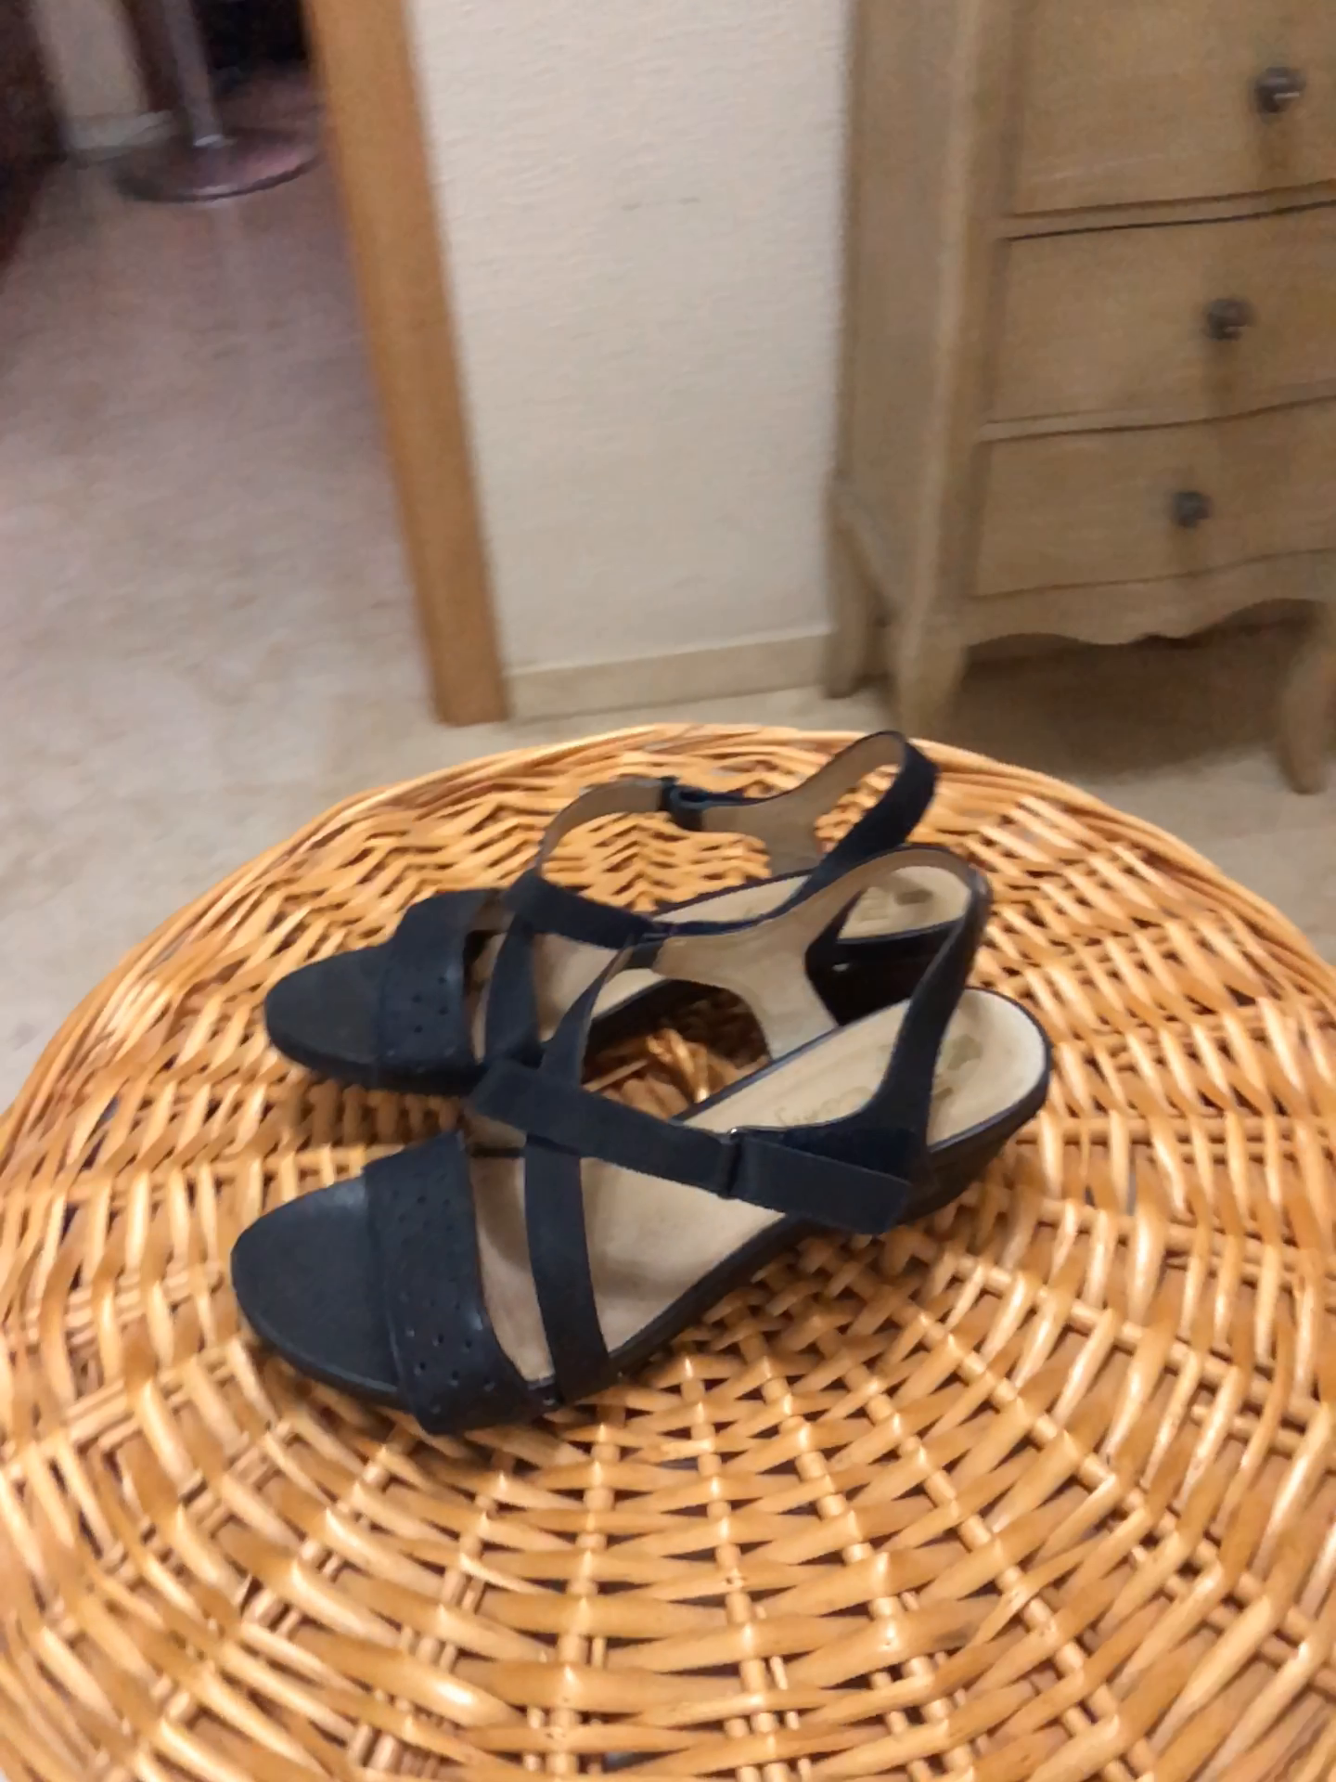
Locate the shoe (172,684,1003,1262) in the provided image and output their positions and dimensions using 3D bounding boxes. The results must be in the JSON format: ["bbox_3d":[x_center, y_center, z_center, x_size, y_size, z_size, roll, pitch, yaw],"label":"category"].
[{"bbox_3d":[-0.026,0.028,0.513,0.247,0.092,0.100,-17,32,6],"label":"shoe"}]

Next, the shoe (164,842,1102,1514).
[{"bbox_3d":[-0.009,0.083,0.437,0.248,0.088,0.090,-17,43,-3],"label":"shoe"}]
